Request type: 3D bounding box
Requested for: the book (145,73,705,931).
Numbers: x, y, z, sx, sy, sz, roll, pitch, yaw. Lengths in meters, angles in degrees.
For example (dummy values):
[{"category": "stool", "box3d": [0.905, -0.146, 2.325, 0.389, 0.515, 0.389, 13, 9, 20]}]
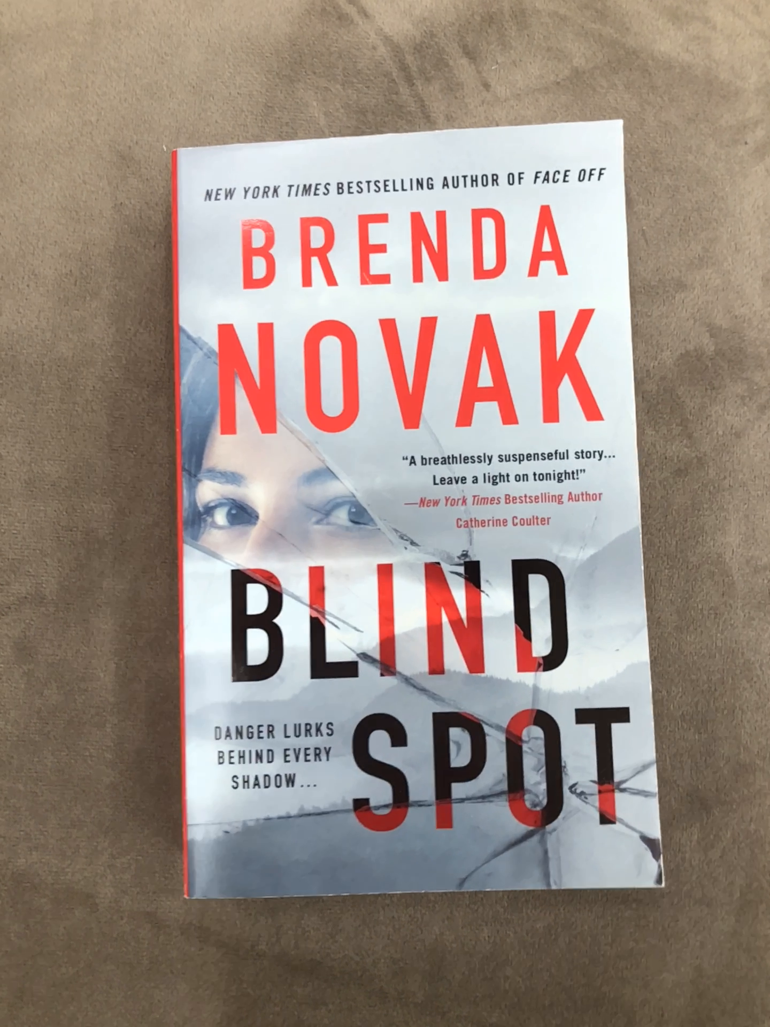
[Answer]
[{"category": "book", "box3d": [0.007, -0.002, 0.221, 0.120, 0.050, 0.190, -3, 86, 6]}]
